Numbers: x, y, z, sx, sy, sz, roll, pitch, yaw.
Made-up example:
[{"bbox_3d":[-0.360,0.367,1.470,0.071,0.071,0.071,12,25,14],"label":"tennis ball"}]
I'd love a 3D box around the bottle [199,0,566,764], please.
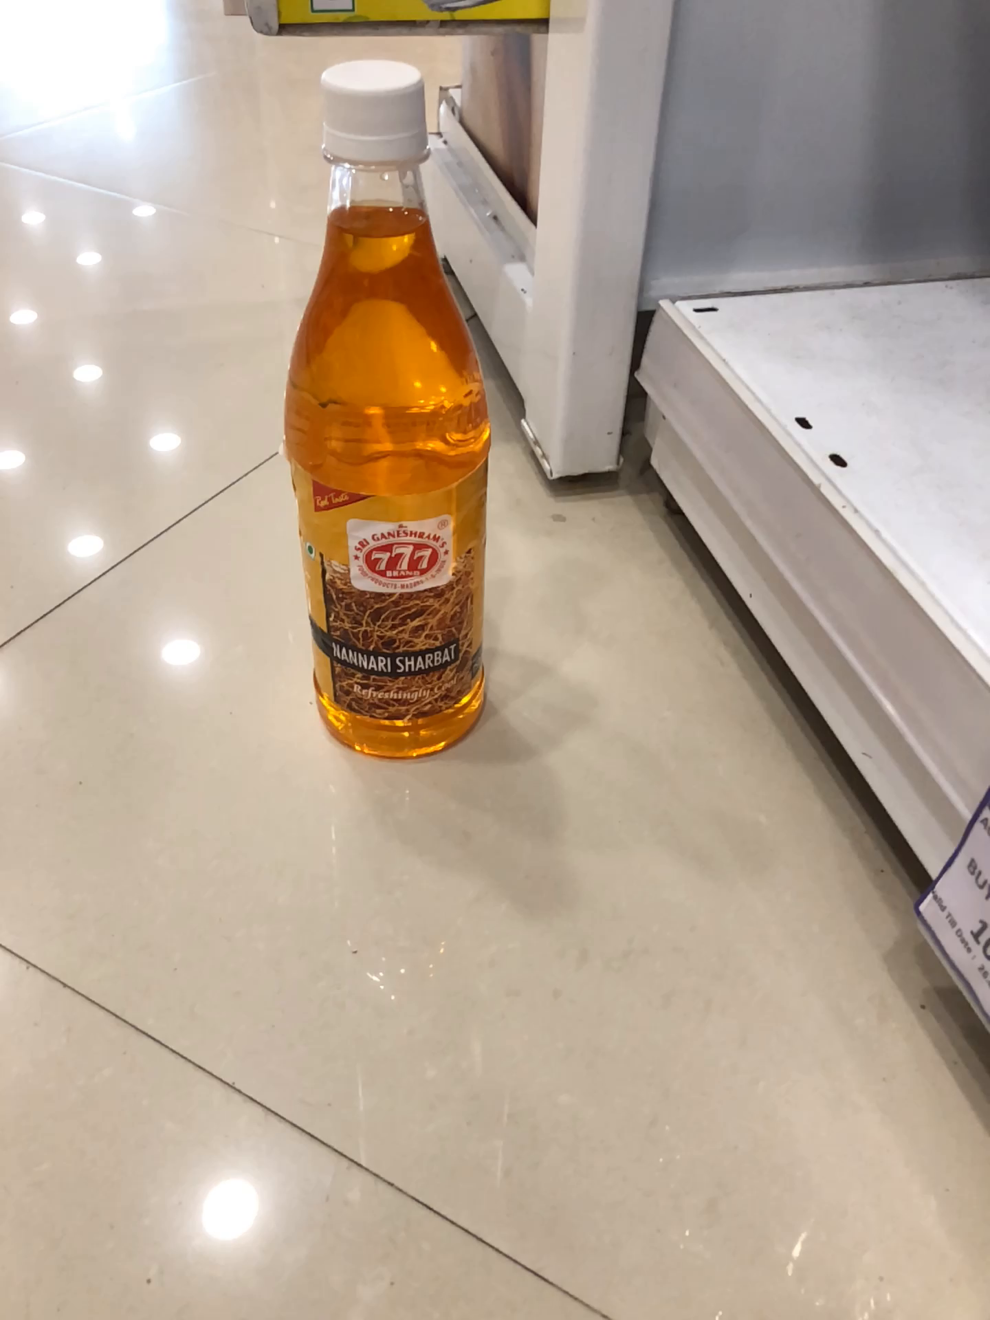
[{"bbox_3d":[-0.037,-0.096,0.437,0.100,0.298,0.101,2,43,-2],"label":"bottle"}]
